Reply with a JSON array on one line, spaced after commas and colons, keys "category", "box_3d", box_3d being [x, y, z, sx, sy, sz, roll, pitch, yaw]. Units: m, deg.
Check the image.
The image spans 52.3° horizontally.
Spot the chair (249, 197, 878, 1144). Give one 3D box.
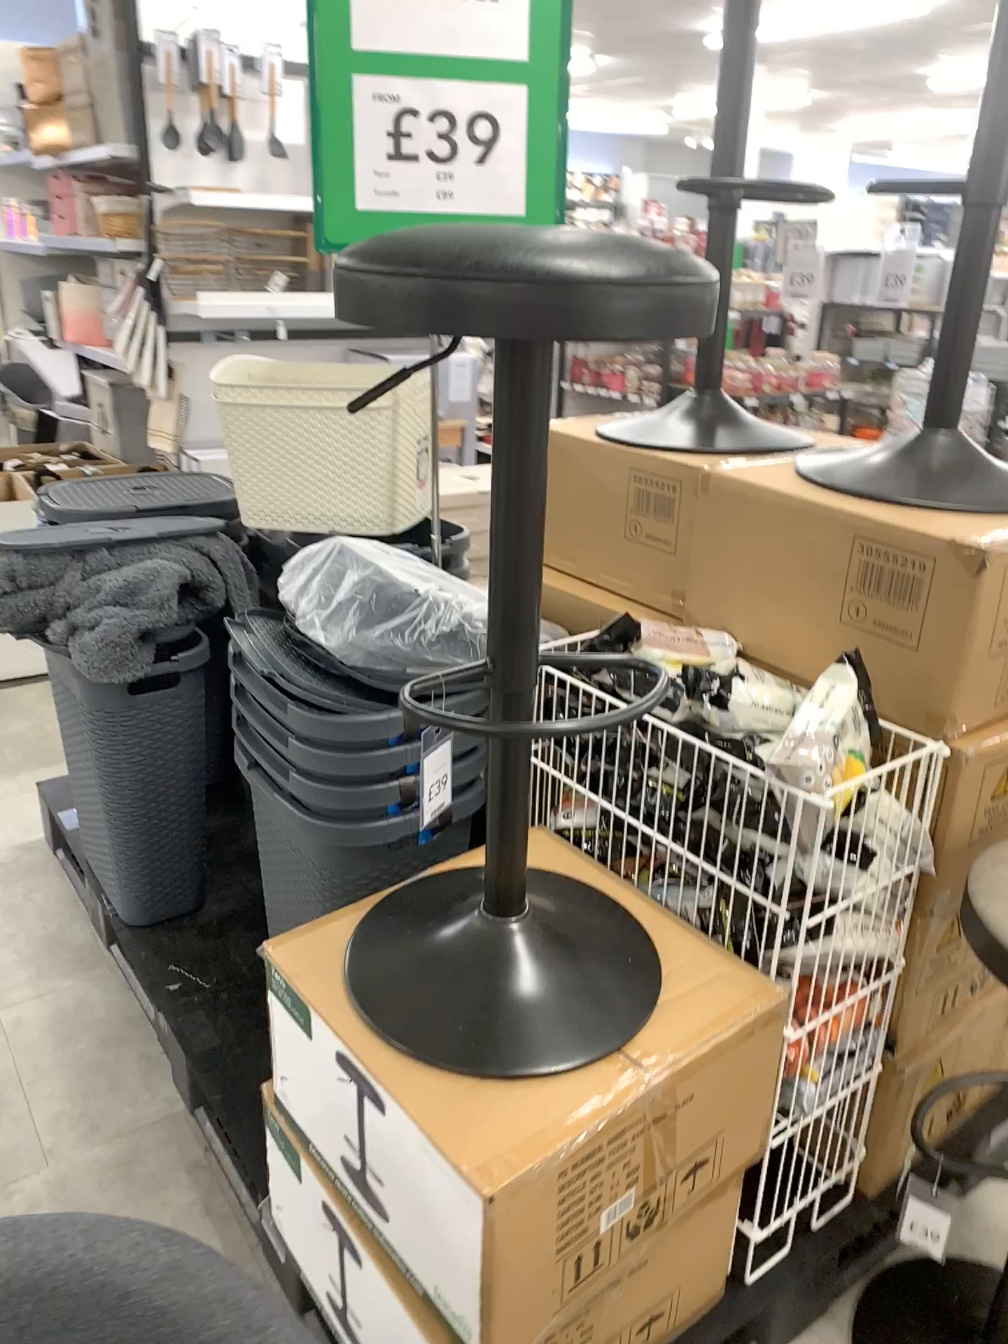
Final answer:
[{"category": "chair", "box_3d": [0.025, -0.041, 1.063, 0.397, 0.795, 0.409, -13, 26, -33]}]
